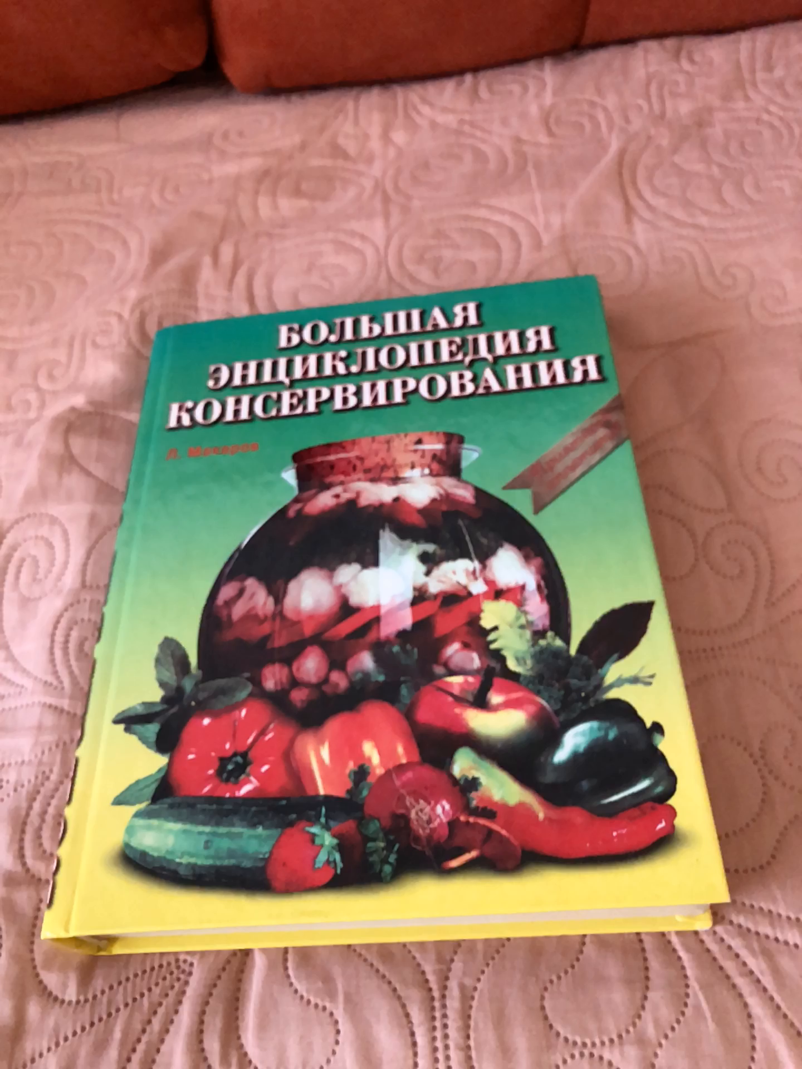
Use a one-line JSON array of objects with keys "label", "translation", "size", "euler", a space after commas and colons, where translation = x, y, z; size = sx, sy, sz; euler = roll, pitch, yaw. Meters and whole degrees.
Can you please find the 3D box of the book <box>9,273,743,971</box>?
[{"label": "book", "translation": [-0.012, 0.015, 0.359], "size": [0.216, 0.050, 0.274], "euler": [-5, 54, 5]}]
